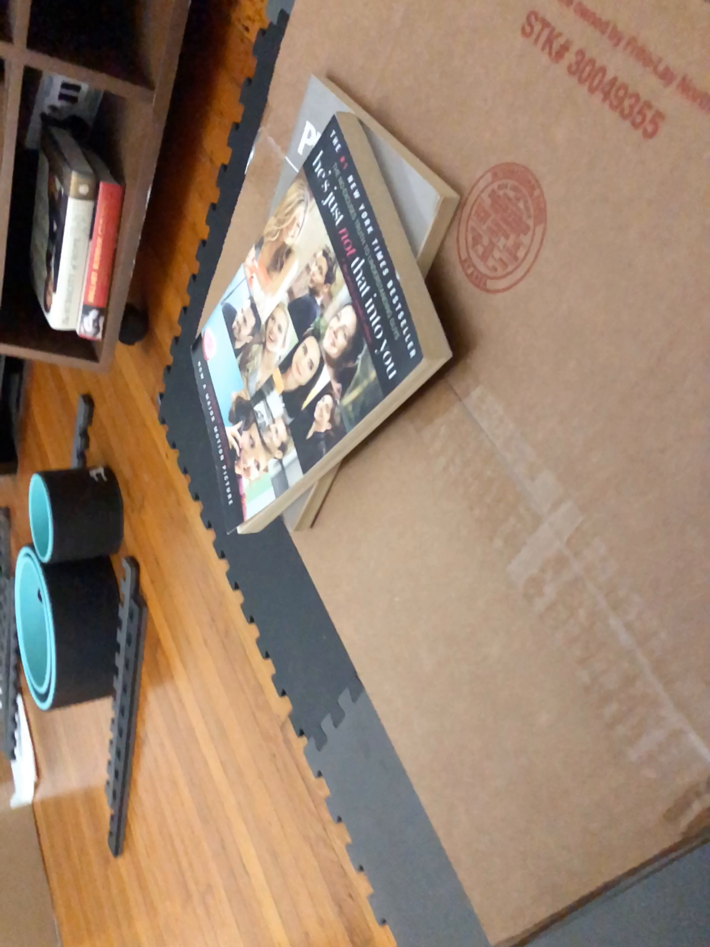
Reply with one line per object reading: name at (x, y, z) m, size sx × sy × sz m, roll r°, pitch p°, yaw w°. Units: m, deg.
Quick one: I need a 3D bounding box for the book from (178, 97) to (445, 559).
book at (-0.043, -0.063, 0.440) m, size 0.231 × 0.010 × 0.150 m, roll -42°, pitch 60°, yaw 50°
